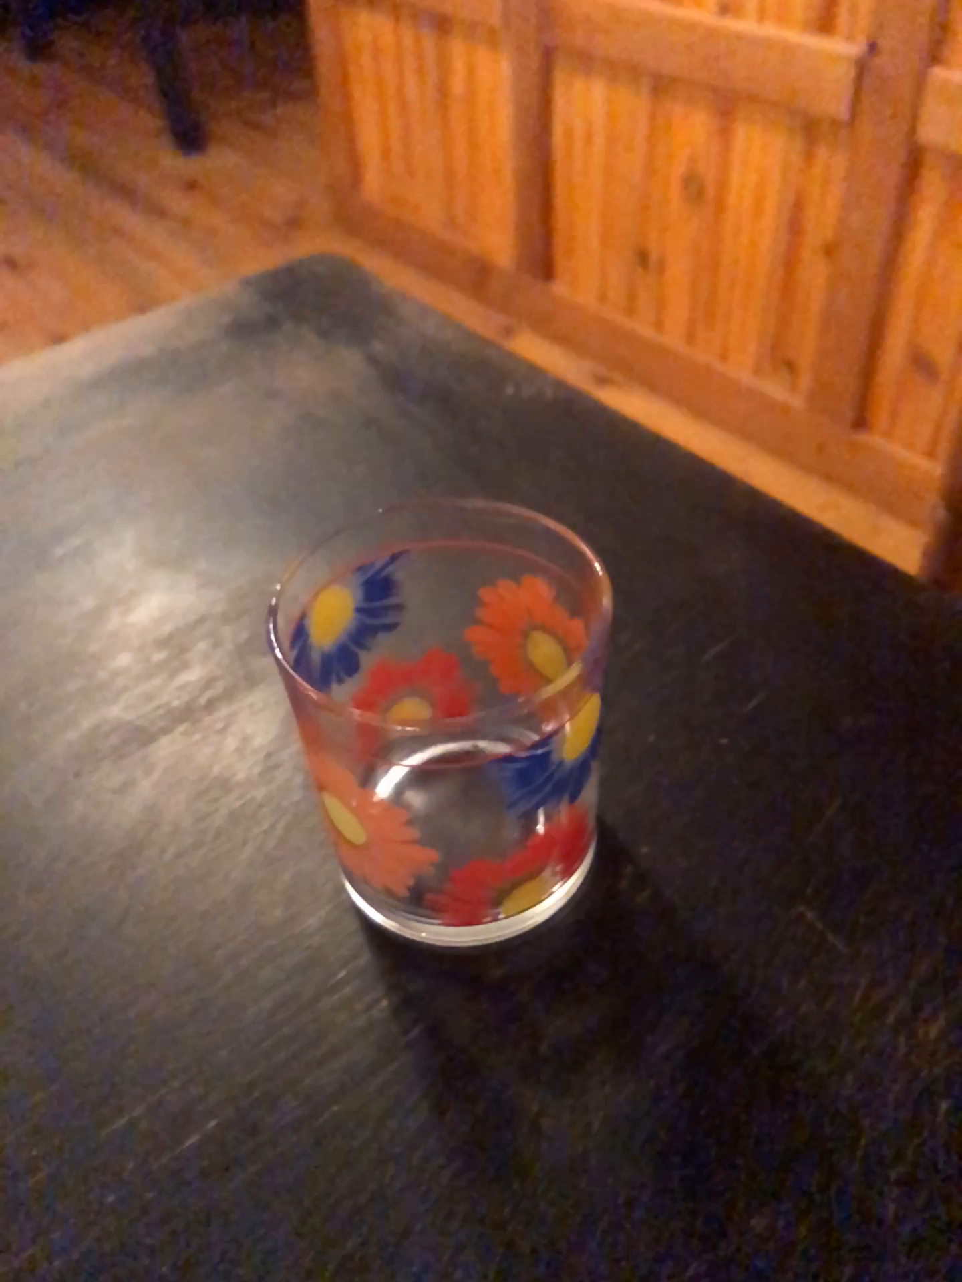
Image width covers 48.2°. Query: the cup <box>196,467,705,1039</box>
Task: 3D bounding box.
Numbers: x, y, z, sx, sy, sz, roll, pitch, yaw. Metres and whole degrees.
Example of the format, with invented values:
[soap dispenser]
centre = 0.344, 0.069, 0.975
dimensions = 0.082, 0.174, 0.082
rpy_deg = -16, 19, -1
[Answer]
[cup]
centre = -0.006, 0.023, 0.253
dimensions = 0.076, 0.079, 0.078
rpy_deg = -2, 43, 2
